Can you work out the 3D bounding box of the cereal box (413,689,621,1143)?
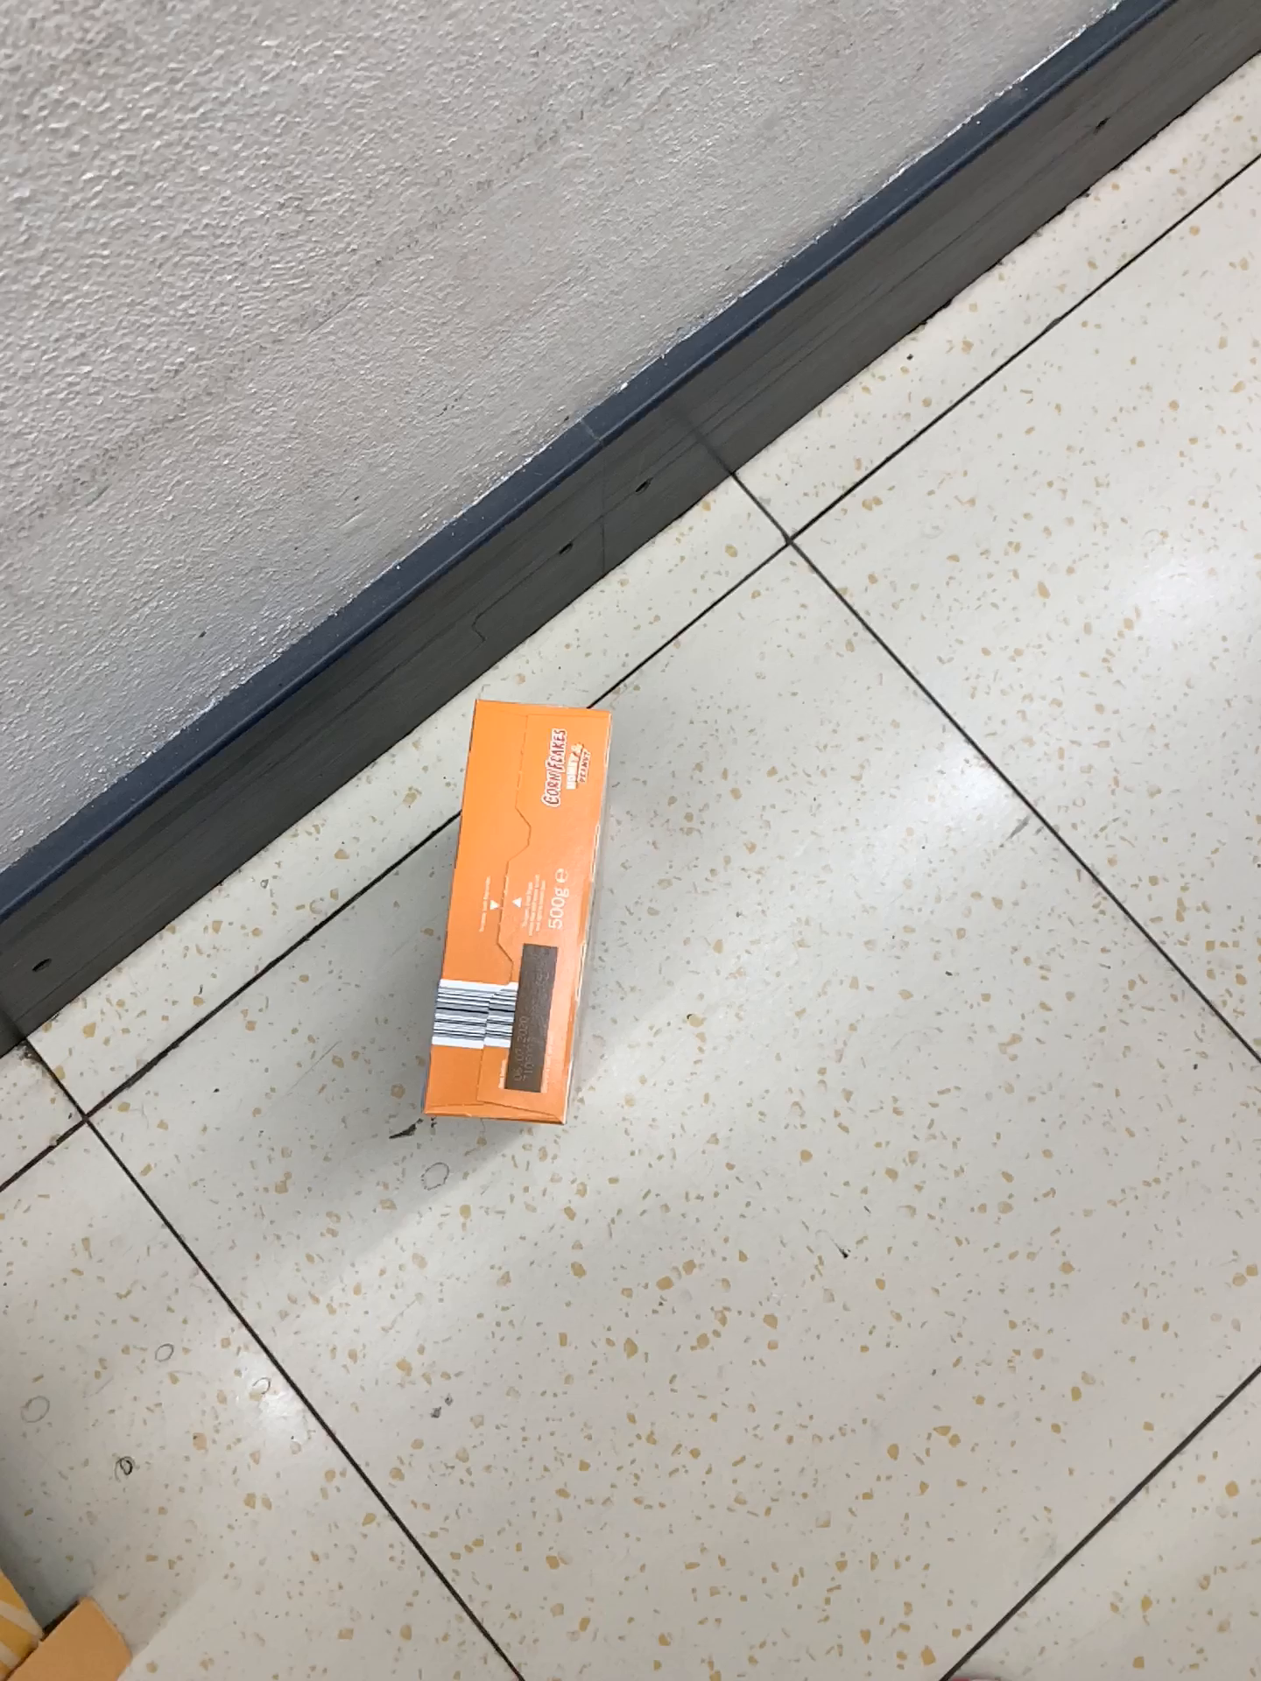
[{"bbox_3d":[-0.052,0.052,0.717,0.070,0.270,0.200,6,81,0],"label":"cereal box"}]
